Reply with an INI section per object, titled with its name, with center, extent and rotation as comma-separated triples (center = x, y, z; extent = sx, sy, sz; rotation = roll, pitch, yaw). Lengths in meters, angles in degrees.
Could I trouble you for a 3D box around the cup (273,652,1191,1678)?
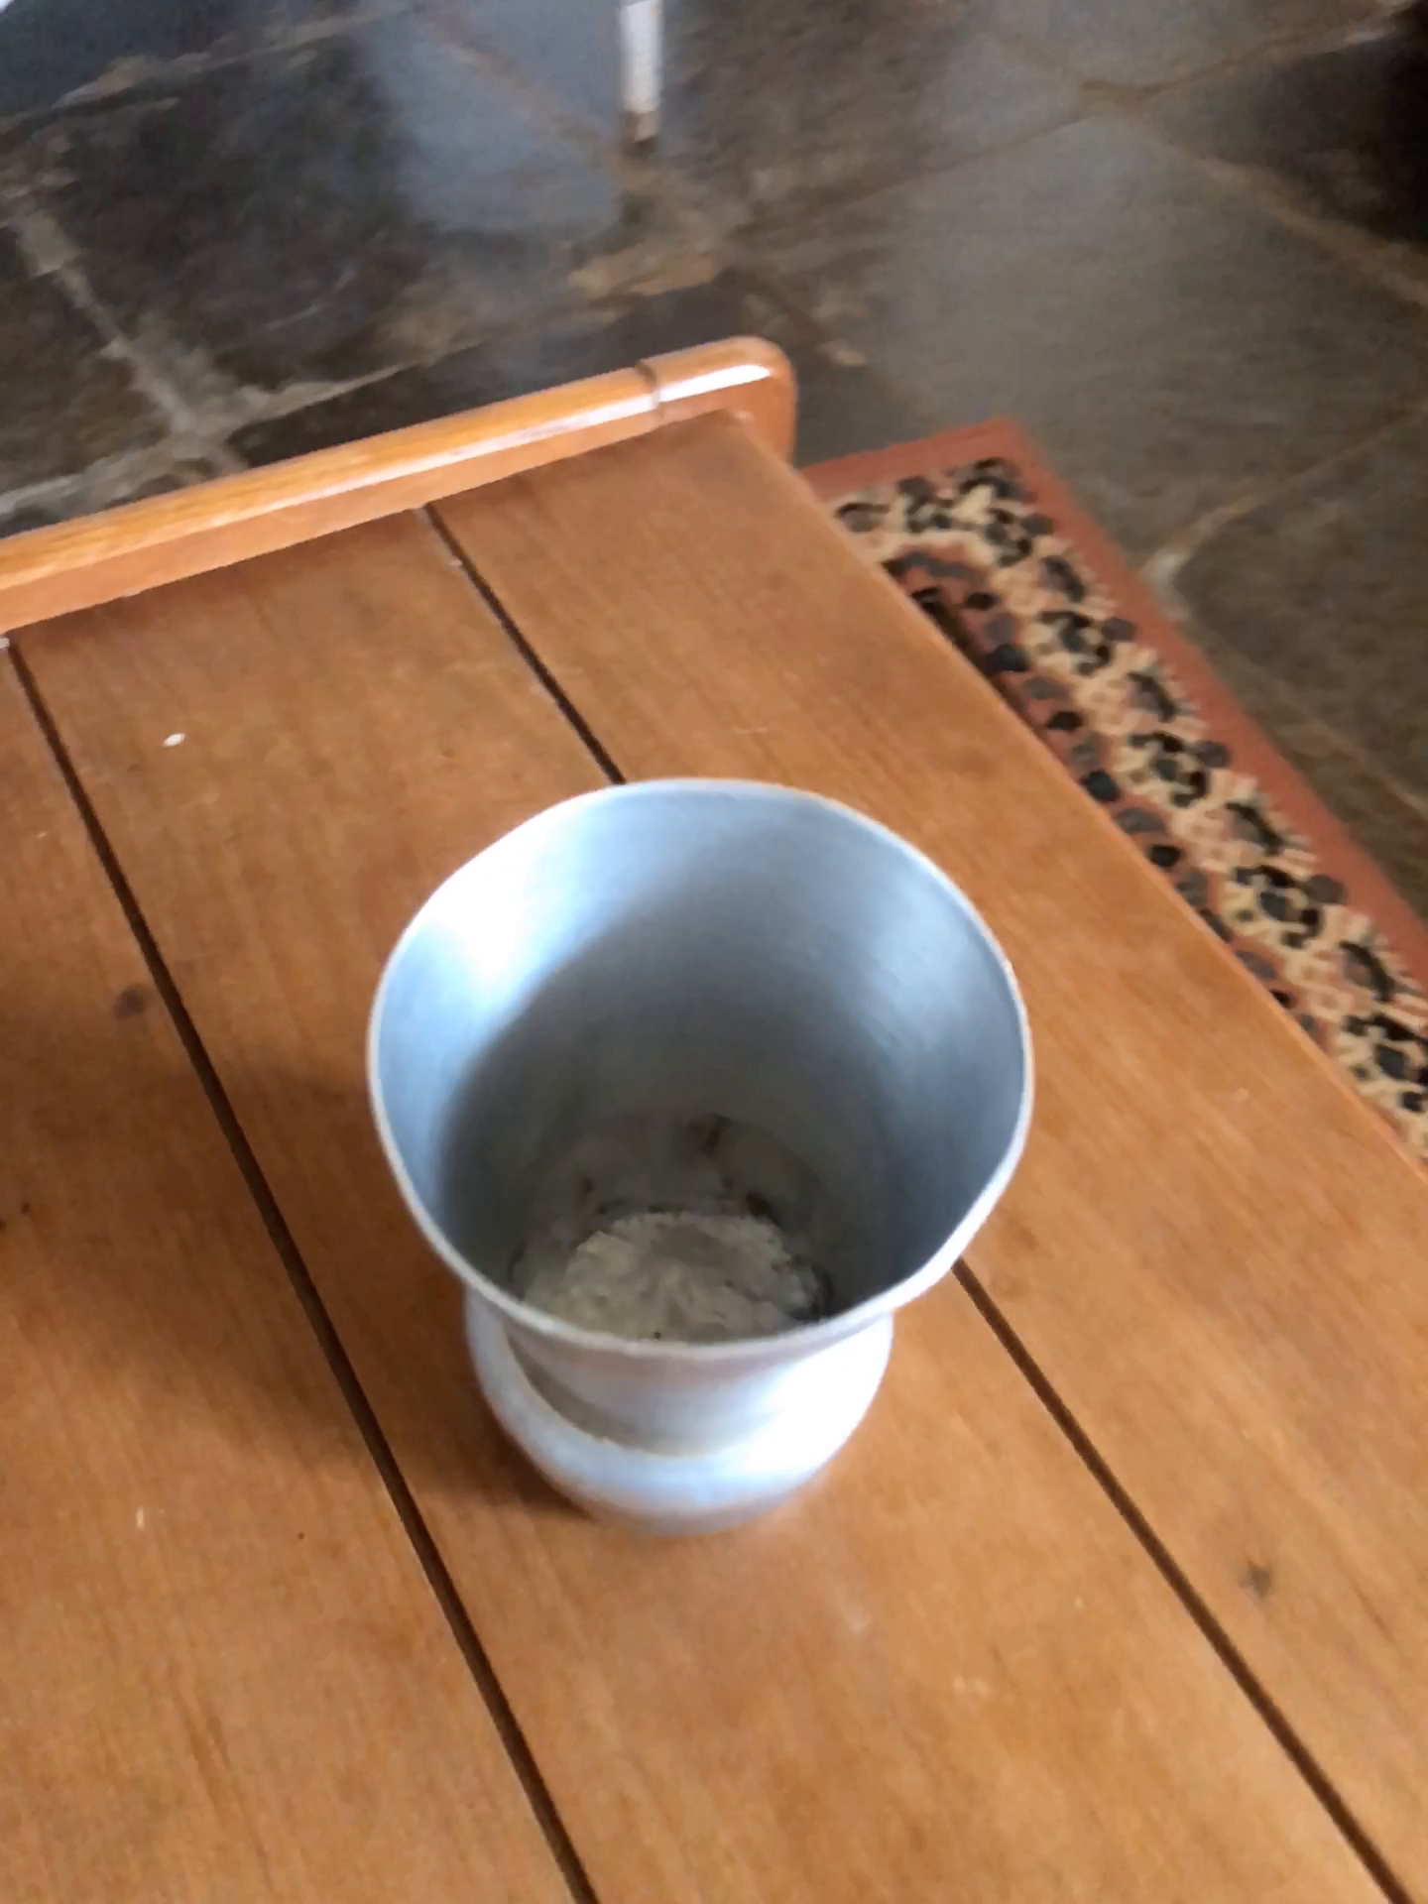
[cup]
center = -0.003, 0.034, 0.211
extent = 0.070, 0.109, 0.070
rotation = 2, 55, -3
